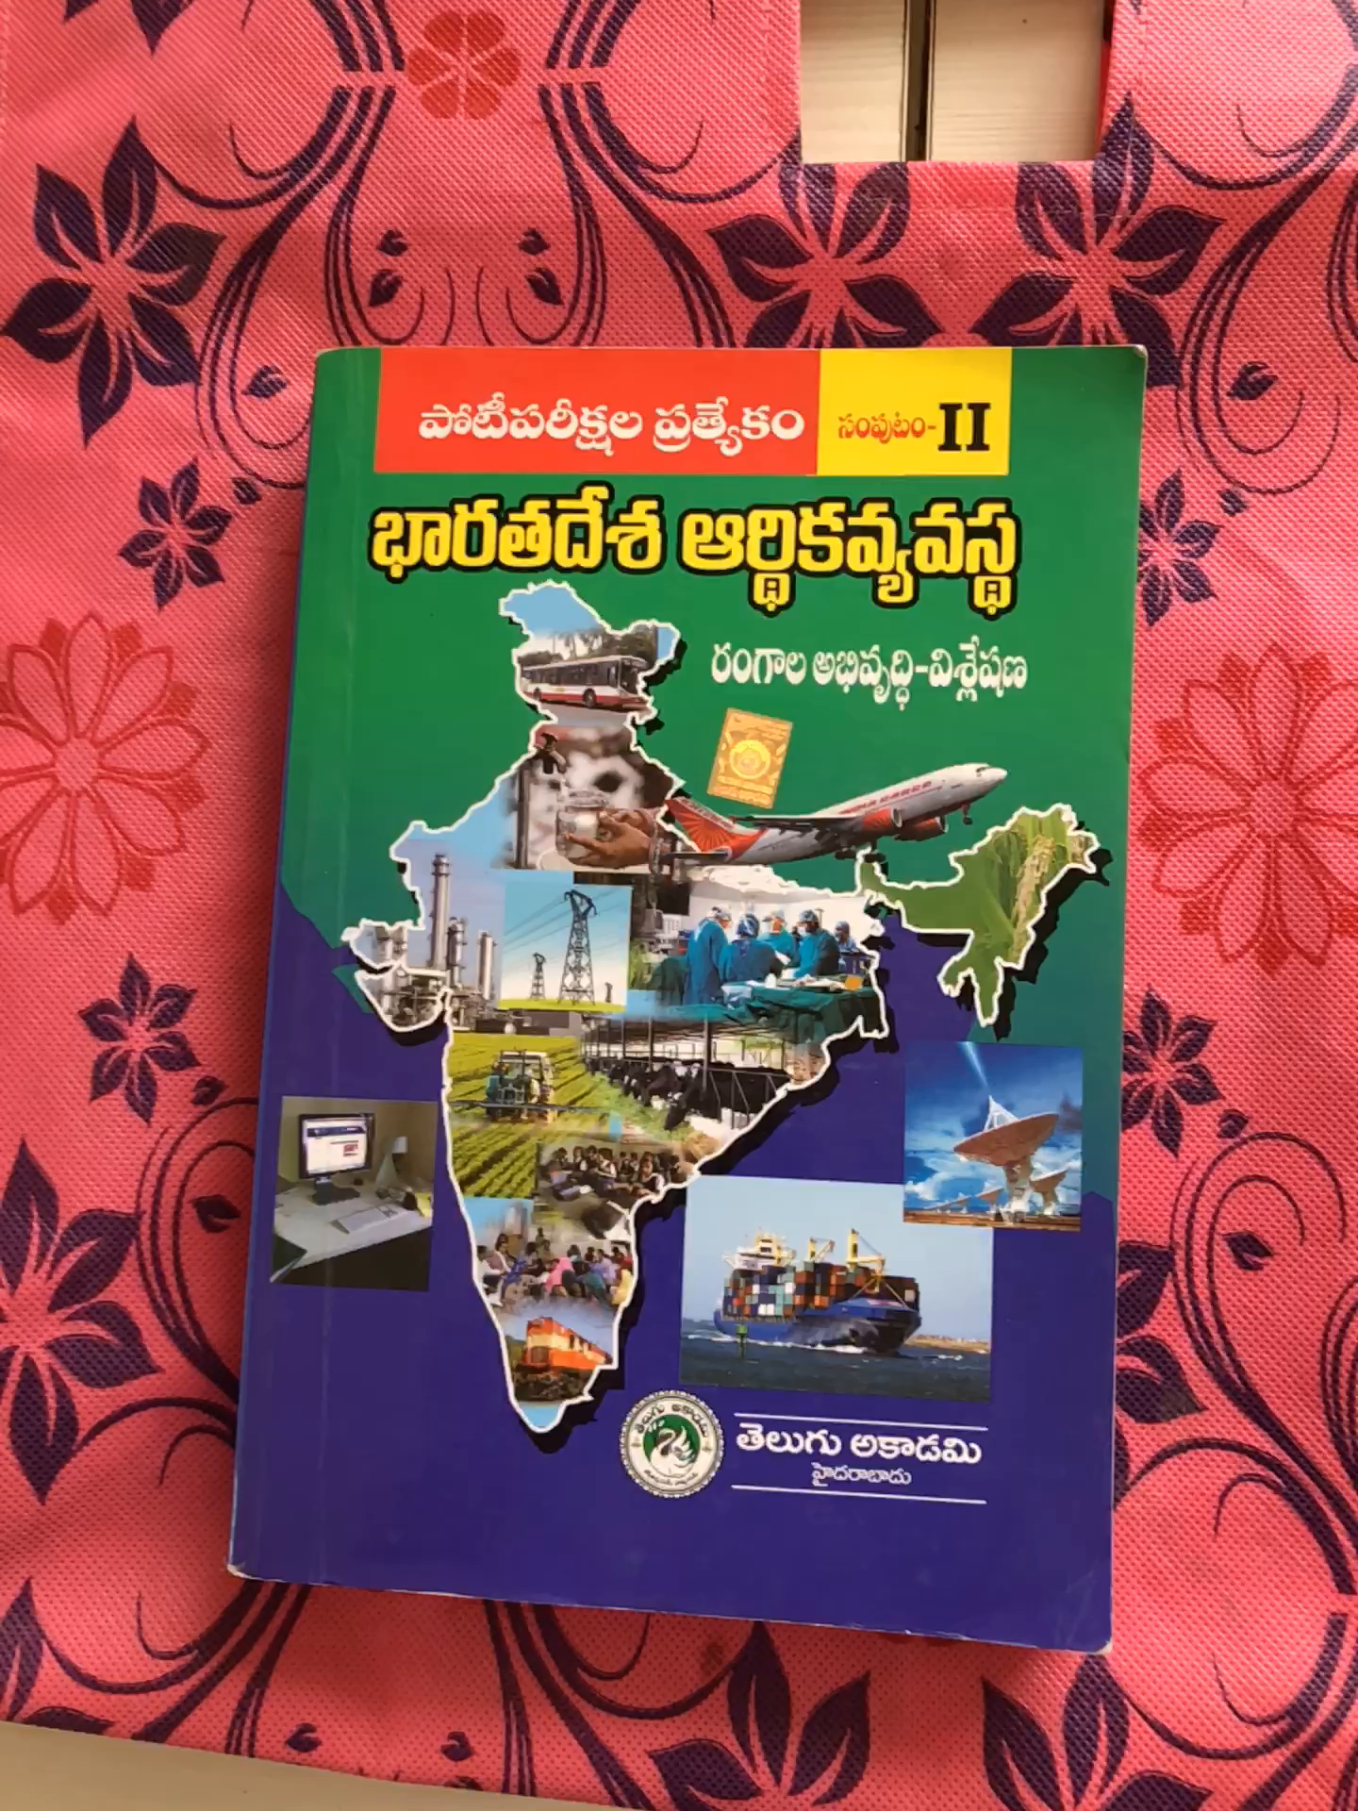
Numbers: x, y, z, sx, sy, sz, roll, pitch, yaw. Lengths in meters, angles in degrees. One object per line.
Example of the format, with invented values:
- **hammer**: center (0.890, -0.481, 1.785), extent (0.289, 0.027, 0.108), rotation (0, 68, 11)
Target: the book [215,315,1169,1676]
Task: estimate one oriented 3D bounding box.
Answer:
- **book**: center (0.005, 0.012, 0.340), extent (0.190, 0.040, 0.280), rotation (2, 86, 5)
